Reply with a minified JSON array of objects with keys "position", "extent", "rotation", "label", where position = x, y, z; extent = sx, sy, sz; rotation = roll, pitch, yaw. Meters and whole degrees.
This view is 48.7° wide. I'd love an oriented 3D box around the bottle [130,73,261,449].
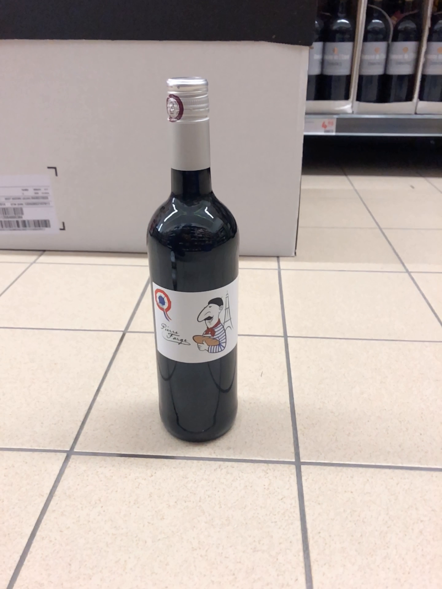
[{"position":[-0.016,-0.016,0.401],"extent":[0.080,0.298,0.080],"rotation":[0,27,0],"label":"bottle"}]
